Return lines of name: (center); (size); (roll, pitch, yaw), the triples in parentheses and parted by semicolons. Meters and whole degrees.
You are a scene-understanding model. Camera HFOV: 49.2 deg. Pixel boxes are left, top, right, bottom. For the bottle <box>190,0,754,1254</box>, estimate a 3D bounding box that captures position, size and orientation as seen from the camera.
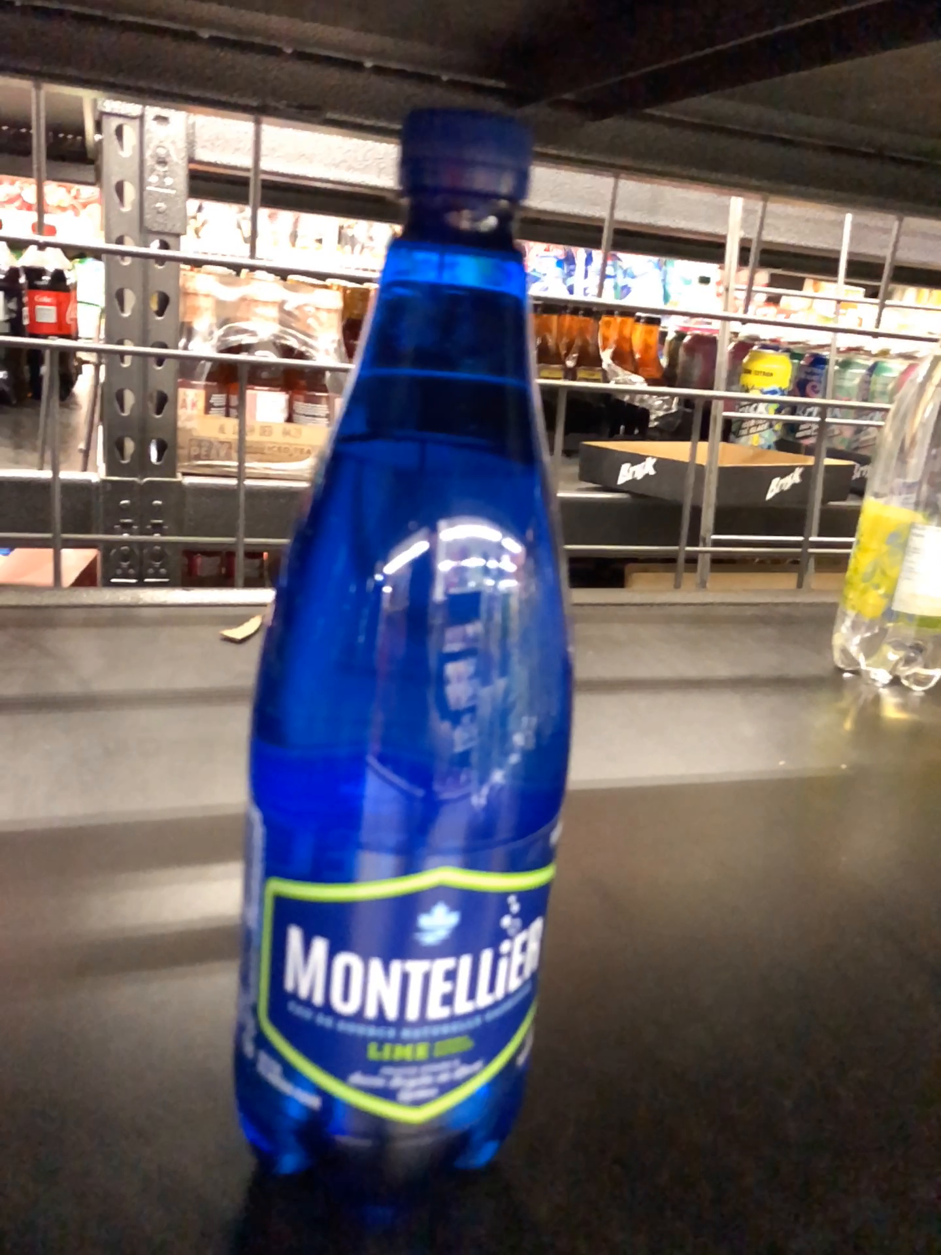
bottle: (-0.019, 0.010, 0.274); (0.100, 0.288, 0.090); (0, 18, -18)
